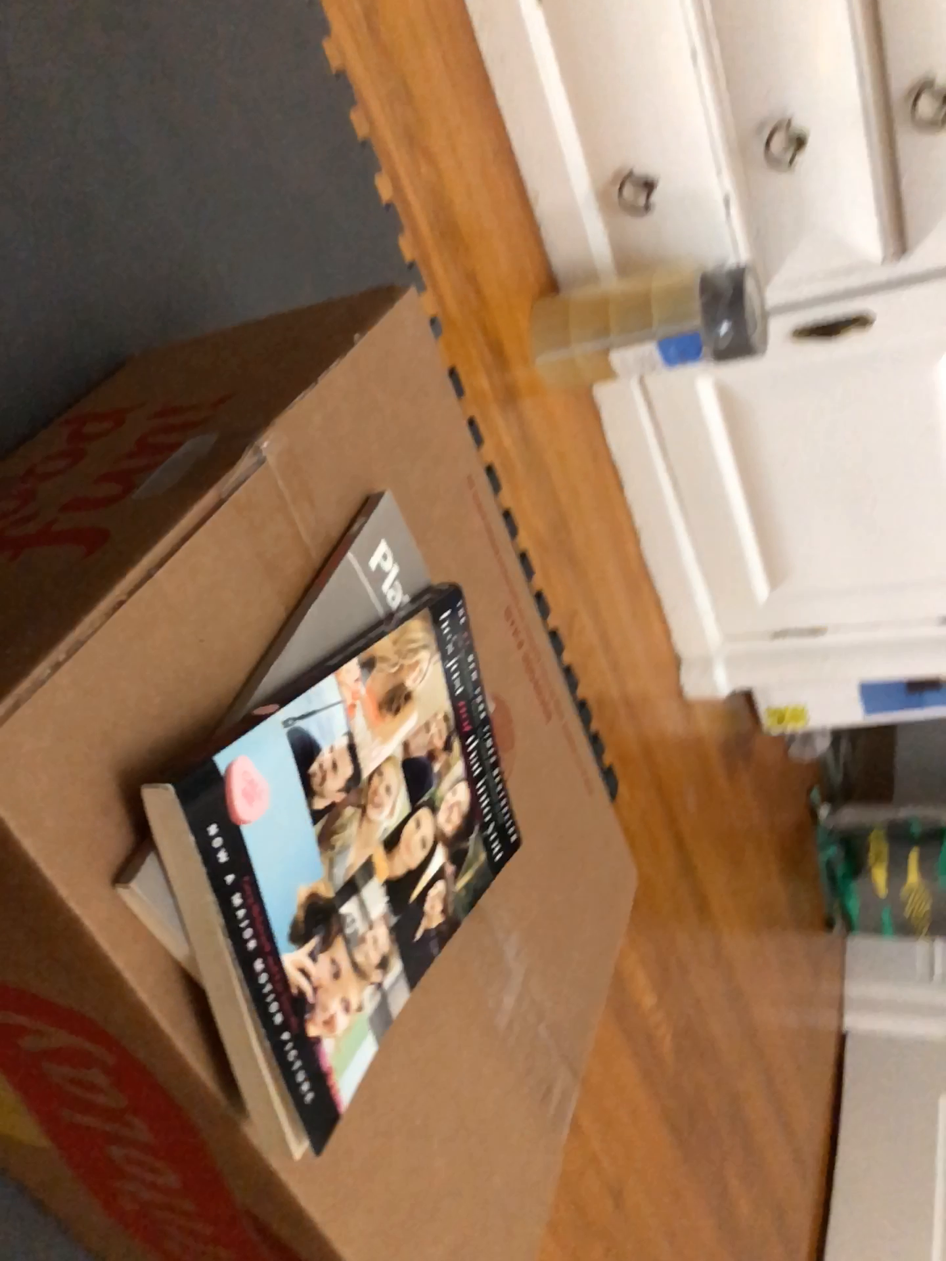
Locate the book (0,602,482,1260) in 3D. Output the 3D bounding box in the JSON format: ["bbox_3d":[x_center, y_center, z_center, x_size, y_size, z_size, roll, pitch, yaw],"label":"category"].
[{"bbox_3d":[-0.065,0.097,0.387,0.231,0.010,0.150,-40,120,-58],"label":"book"}]
